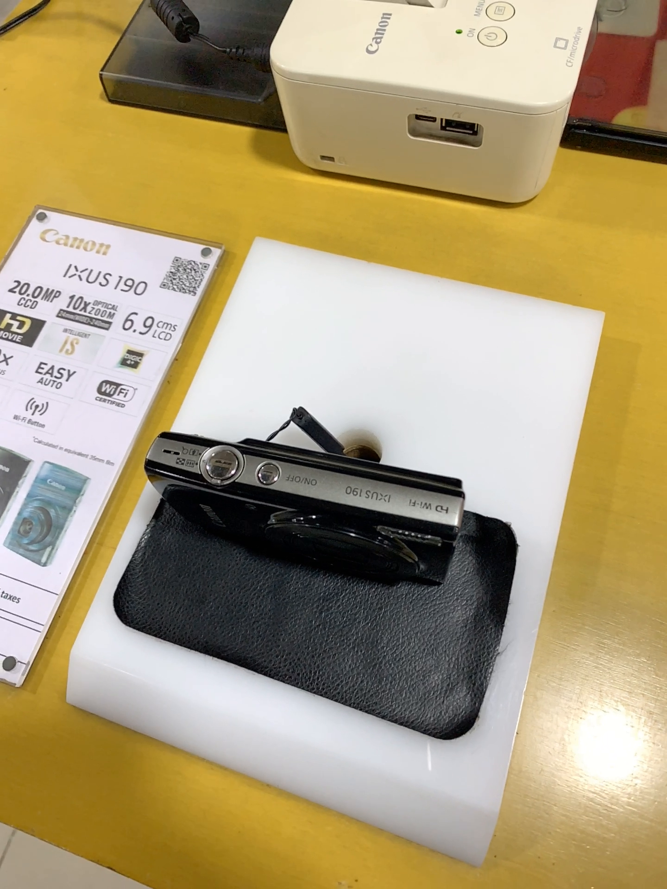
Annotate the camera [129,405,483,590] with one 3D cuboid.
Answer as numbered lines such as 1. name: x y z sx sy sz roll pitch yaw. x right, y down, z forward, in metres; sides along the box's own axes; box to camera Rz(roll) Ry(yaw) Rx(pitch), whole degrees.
1. camera: -0.005 0.018 0.206 0.090 0.060 0.020 11 69 10
